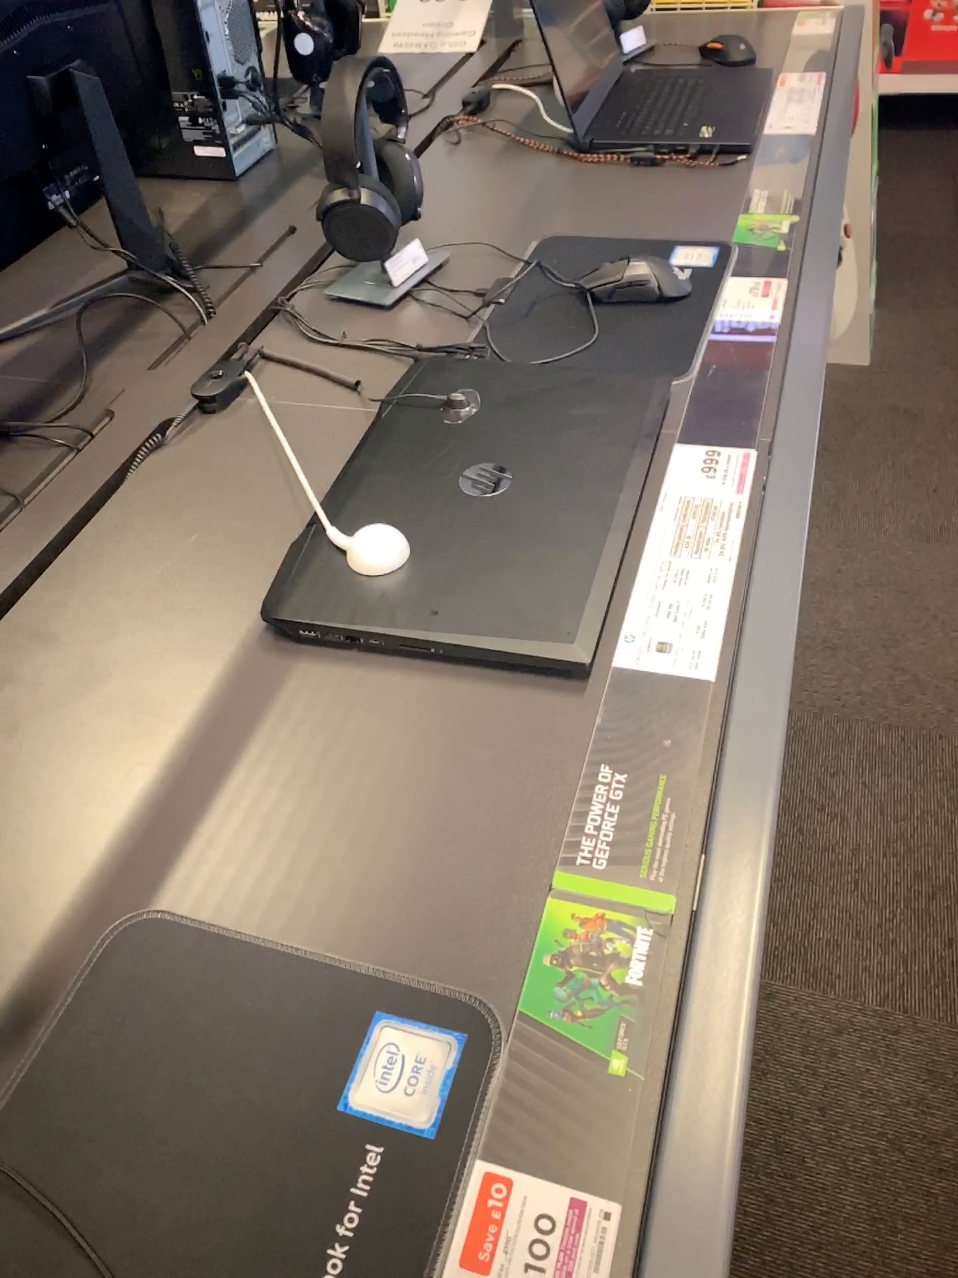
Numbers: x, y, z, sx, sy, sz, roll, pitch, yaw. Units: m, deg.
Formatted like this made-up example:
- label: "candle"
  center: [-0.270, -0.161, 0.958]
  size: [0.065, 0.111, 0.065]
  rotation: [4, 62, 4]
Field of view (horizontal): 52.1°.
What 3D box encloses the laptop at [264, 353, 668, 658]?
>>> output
- label: "laptop"
  center: [0.008, -0.144, 0.870]
  size: [0.256, 0.001, 0.397]
  rotation: [8, 47, 16]
